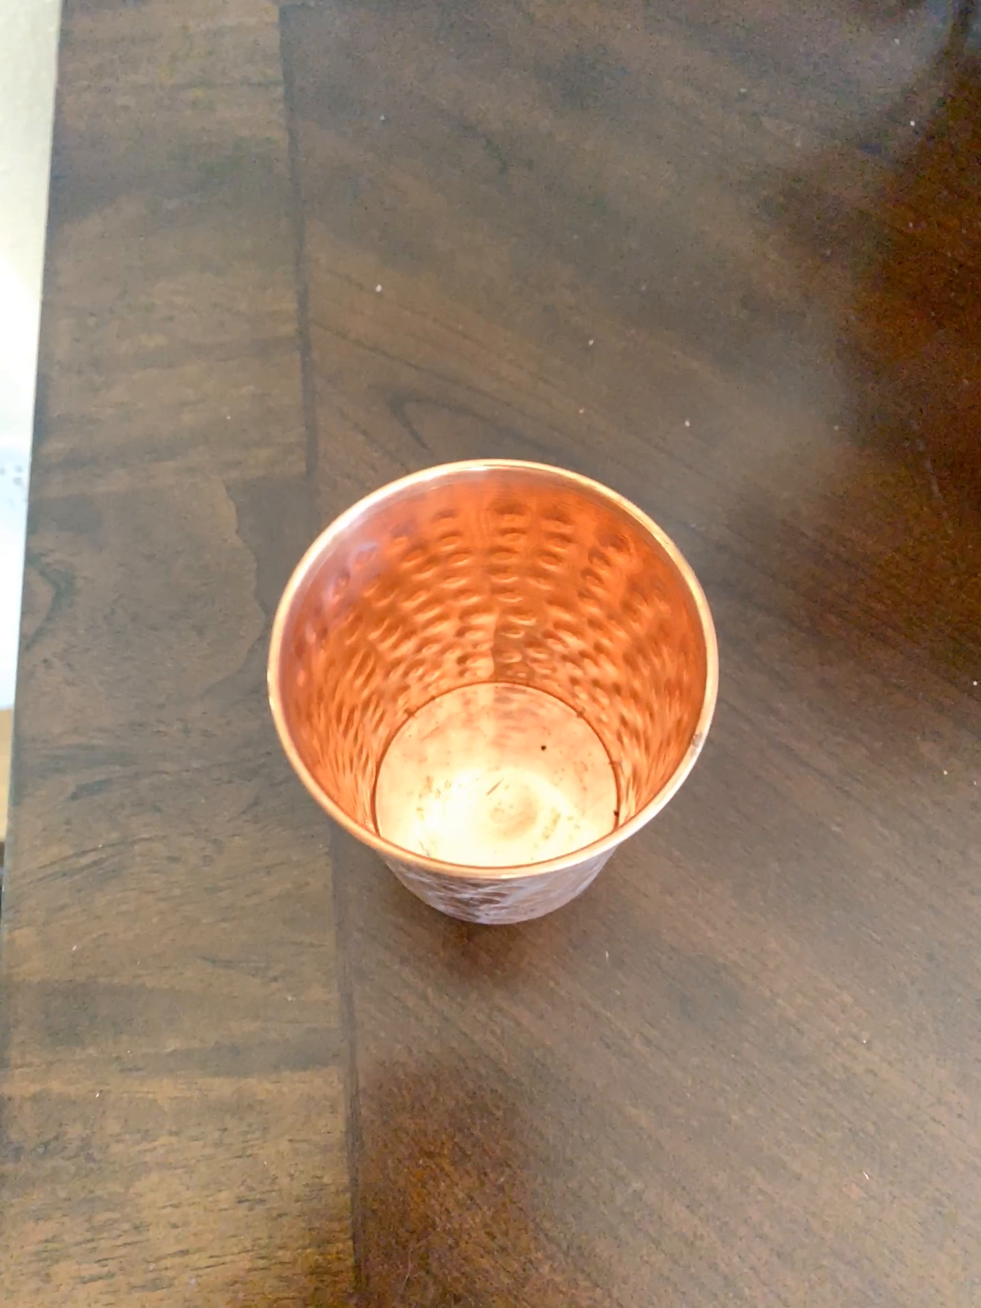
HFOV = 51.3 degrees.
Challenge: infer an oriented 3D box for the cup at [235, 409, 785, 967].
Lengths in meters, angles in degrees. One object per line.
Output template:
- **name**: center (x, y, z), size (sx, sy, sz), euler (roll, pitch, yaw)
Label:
- **cup**: center (0.000, 0.012, 0.194), size (0.070, 0.083, 0.066), euler (0, 66, 0)
